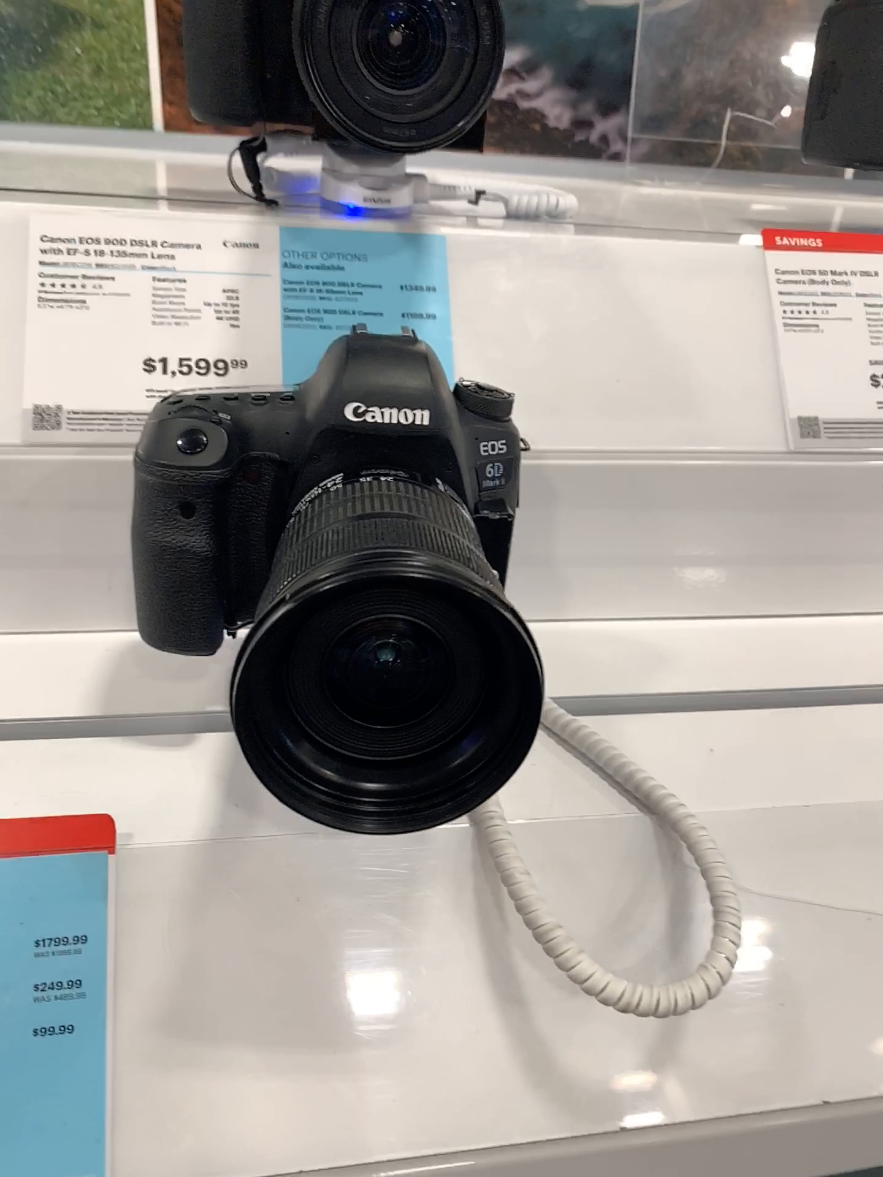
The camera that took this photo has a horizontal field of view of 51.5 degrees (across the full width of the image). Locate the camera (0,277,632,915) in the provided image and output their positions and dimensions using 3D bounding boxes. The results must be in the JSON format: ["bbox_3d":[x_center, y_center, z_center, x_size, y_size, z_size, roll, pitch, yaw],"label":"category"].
[{"bbox_3d":[-0.043,-0.016,0.293,0.137,0.123,0.180,-1,30,-9],"label":"camera"}]
